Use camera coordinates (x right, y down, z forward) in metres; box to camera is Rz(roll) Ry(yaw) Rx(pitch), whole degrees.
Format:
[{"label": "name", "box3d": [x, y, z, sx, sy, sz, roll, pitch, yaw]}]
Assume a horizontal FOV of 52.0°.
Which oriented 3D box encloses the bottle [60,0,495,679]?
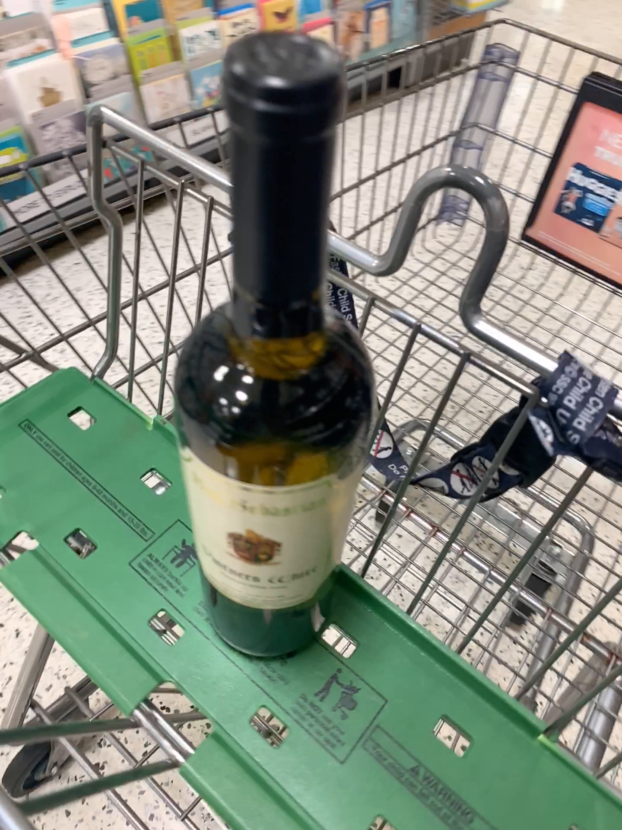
[{"label": "bottle", "box3d": [-0.012, 0.015, 0.257, 0.080, 0.307, 0.071, 11, 51, 4]}]
